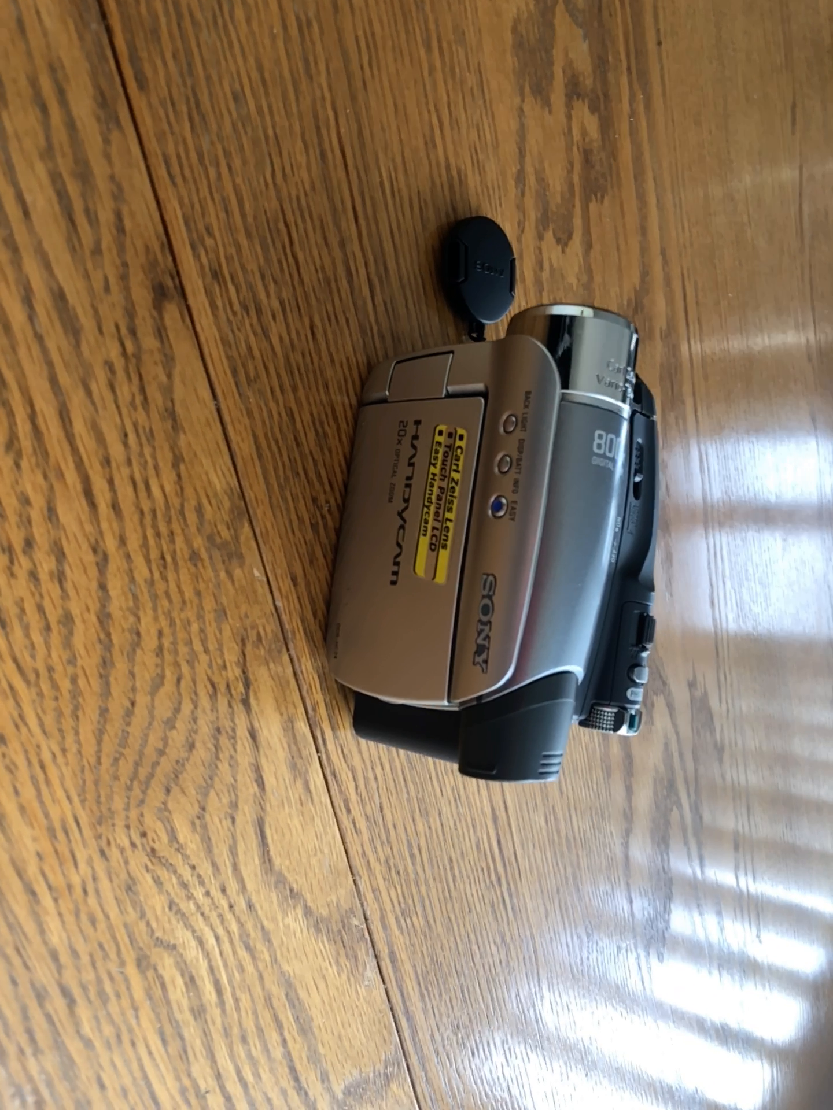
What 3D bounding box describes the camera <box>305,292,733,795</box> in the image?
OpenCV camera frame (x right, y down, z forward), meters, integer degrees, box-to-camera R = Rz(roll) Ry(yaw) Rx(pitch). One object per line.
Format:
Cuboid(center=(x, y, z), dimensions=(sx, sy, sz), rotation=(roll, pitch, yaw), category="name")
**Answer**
Cuboid(center=(0.031, -0.001, 0.256), dimensions=(0.080, 0.072, 0.111), rotation=(12, 85, -49), category="camera")
